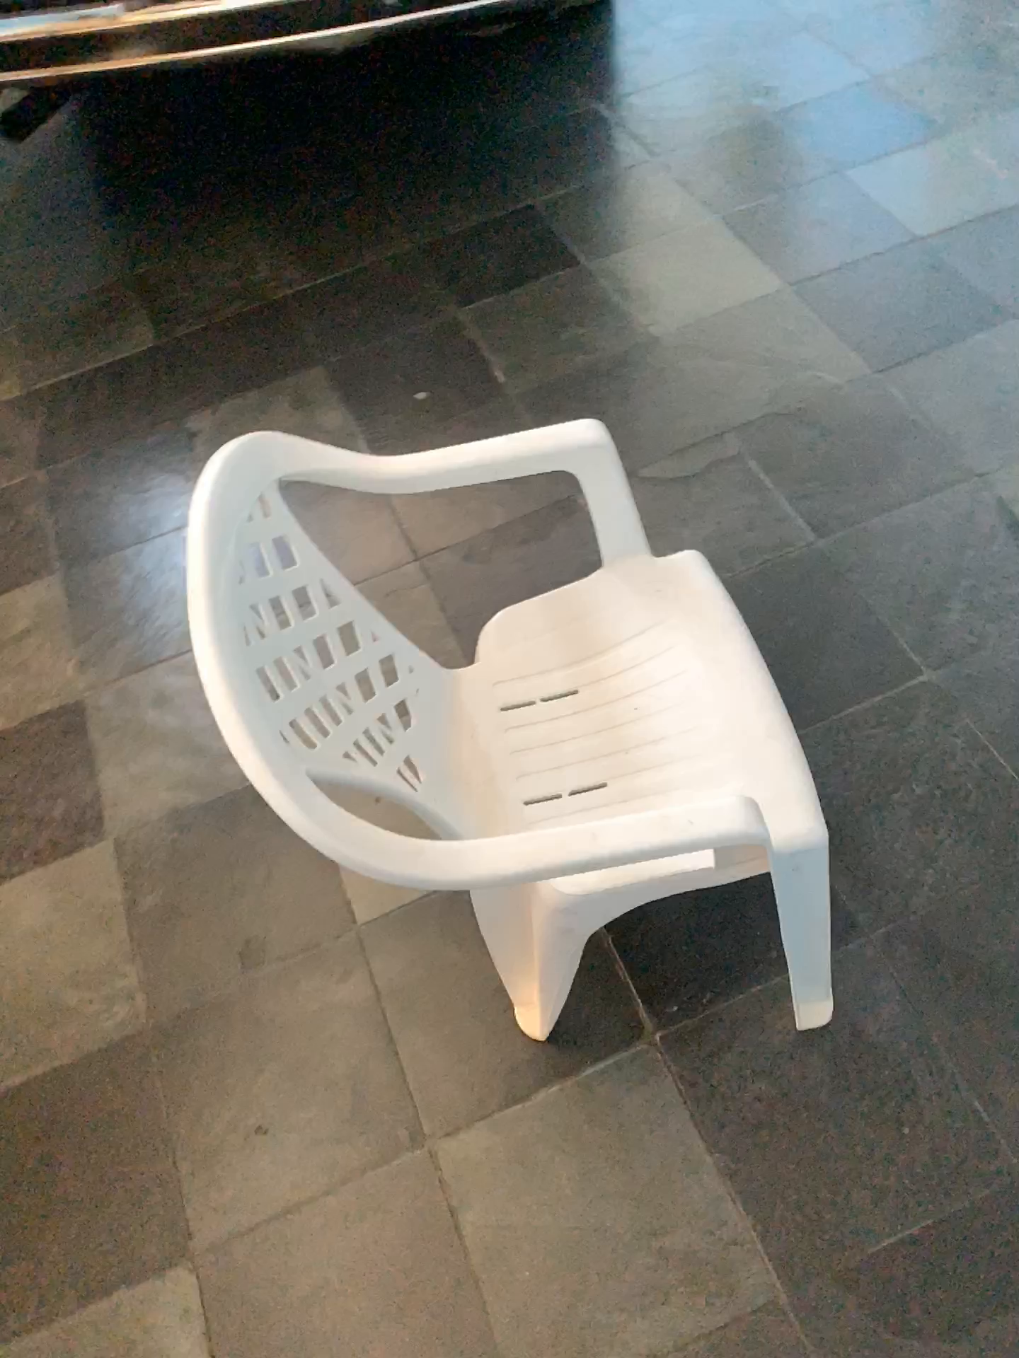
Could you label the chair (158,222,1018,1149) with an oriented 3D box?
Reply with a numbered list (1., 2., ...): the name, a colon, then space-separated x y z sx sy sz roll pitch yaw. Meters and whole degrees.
1. chair: 0.071 0.059 1.117 0.590 0.717 0.542 -17 53 -2
